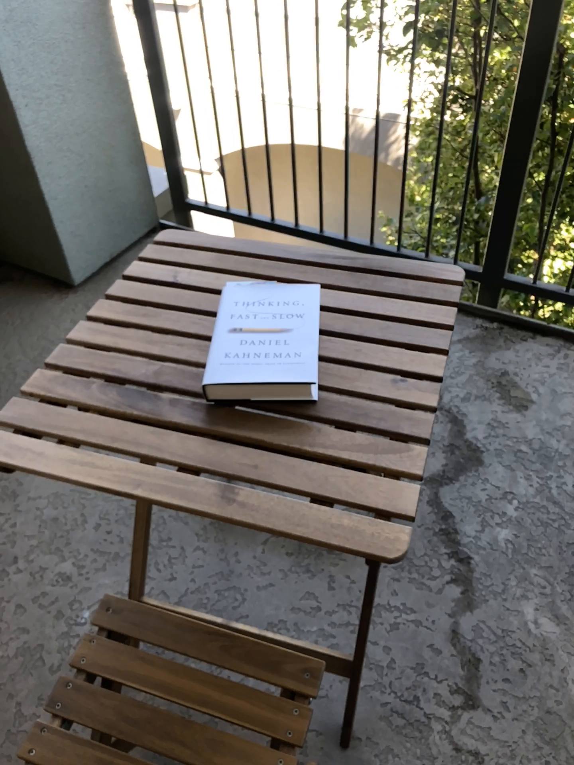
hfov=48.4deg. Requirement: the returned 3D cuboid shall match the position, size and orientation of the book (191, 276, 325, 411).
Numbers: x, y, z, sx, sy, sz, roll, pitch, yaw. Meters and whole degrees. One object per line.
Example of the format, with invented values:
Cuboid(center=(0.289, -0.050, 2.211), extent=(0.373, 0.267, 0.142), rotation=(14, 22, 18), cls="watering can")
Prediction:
Cuboid(center=(-0.034, -0.066, 0.967), extent=(0.180, 0.060, 0.241), rotation=(-1, 44, 4), cls="book")
